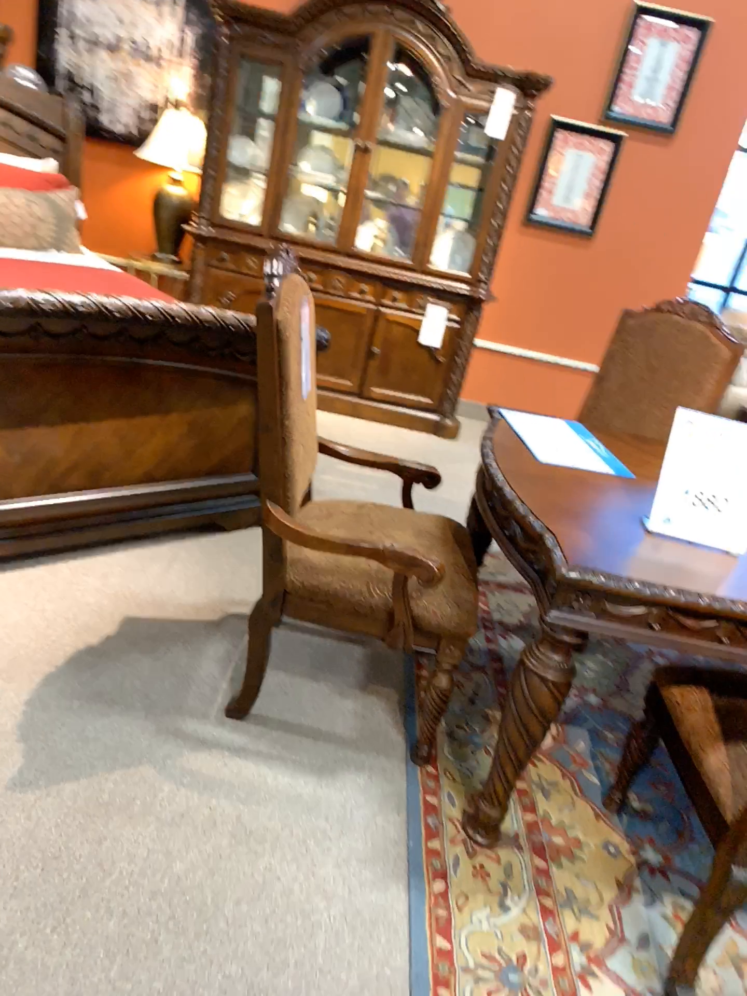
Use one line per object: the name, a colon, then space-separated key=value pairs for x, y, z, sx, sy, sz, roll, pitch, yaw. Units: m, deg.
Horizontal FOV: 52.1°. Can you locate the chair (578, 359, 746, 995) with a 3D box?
chair: x=0.885 y=0.420 z=1.434 sx=0.563 sy=1.134 sz=0.622 roll=13 pitch=23 yaw=0

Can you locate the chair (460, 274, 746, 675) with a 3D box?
chair: x=0.895 y=-0.114 z=2.753 sx=0.671 sy=1.183 sz=0.604 roll=-11 pitch=33 yaw=-45

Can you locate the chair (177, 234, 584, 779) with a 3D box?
chair: x=-0.019 y=0.004 z=1.944 sx=0.669 sy=1.124 sz=0.586 roll=13 pitch=23 yaw=-1
